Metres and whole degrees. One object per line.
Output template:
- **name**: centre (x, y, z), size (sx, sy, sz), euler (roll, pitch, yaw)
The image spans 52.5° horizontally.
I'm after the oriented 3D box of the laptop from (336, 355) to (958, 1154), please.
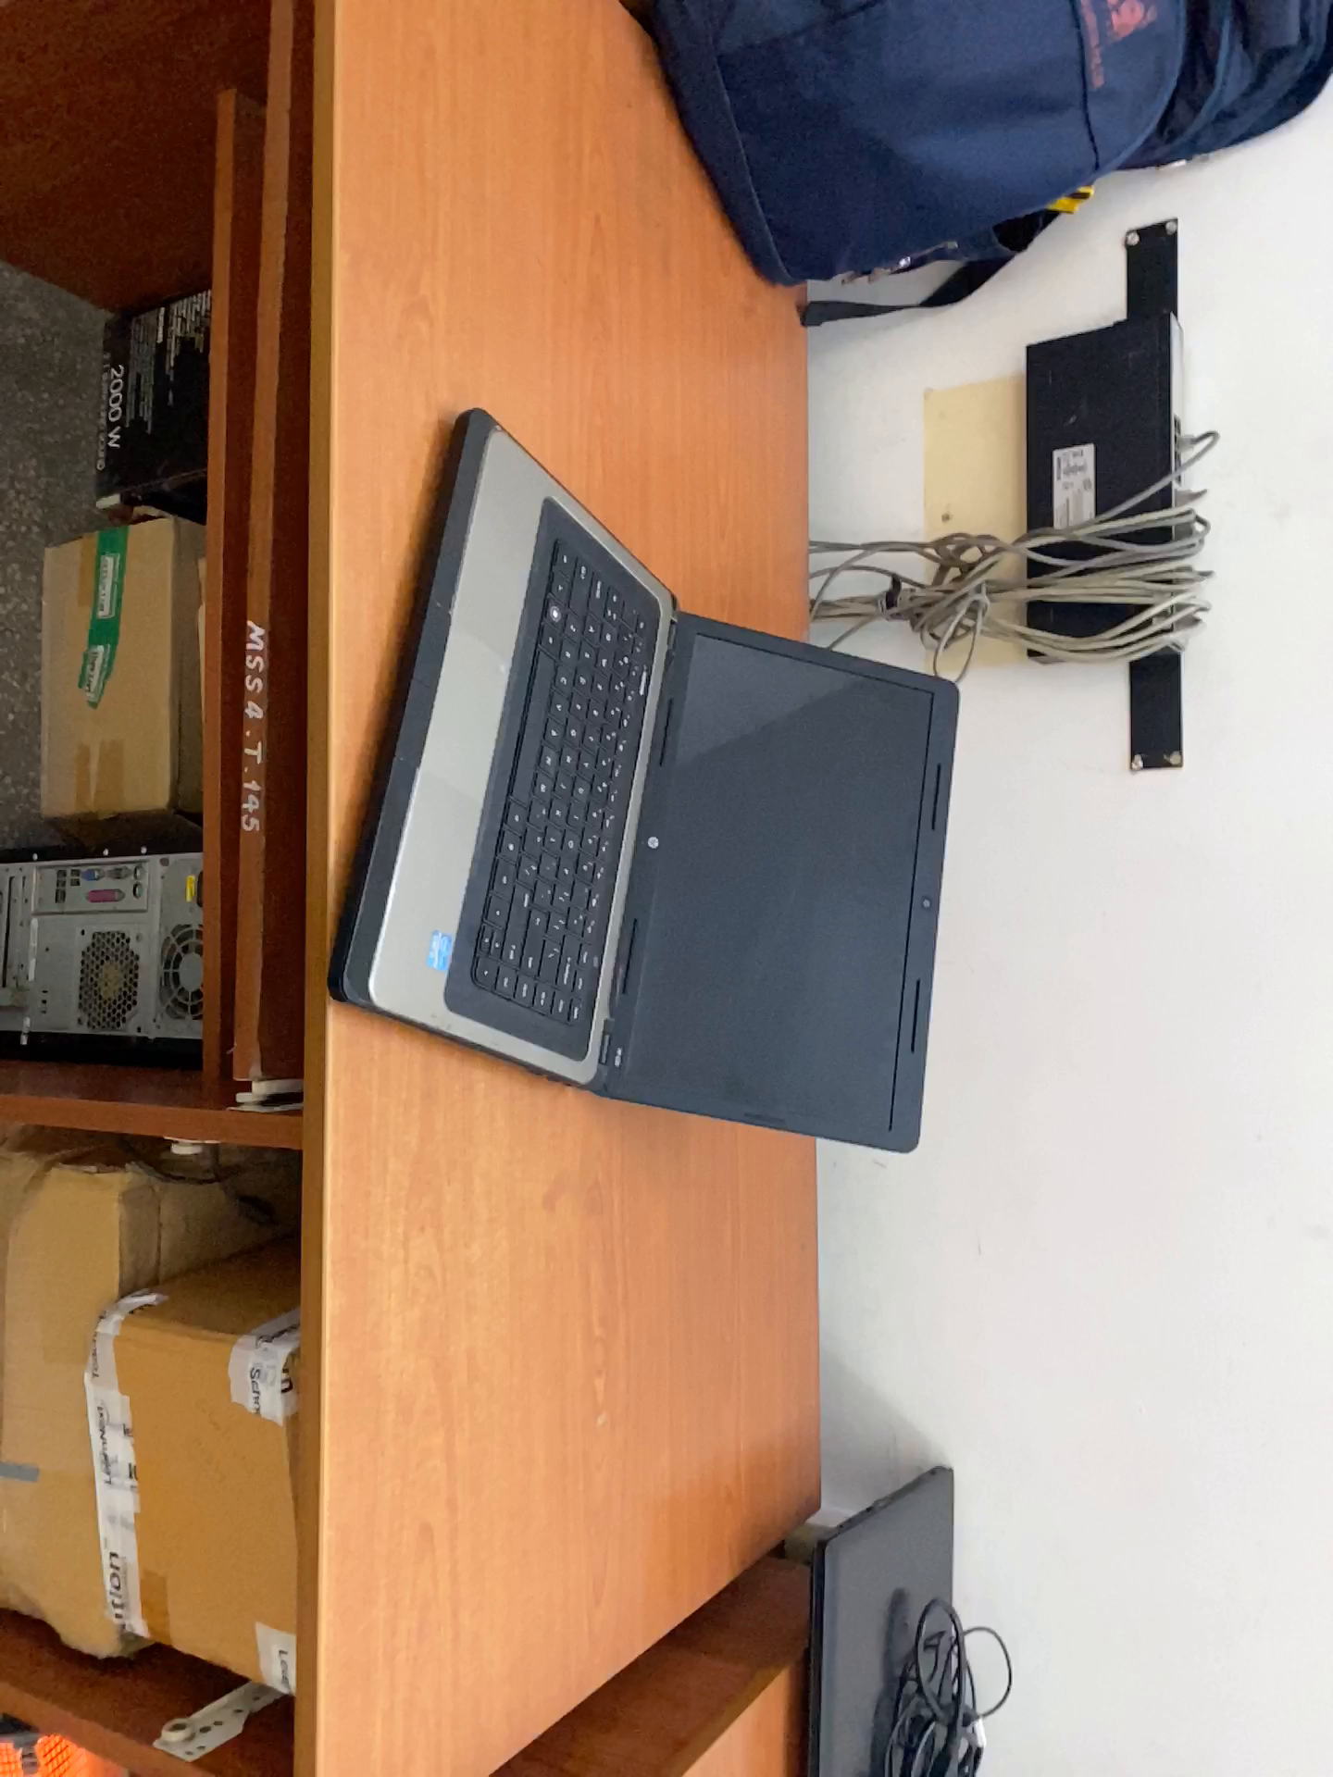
- **laptop**: centre (0.030, -0.052, 0.922), size (0.428, 0.158, 0.383), euler (33, 61, -52)
